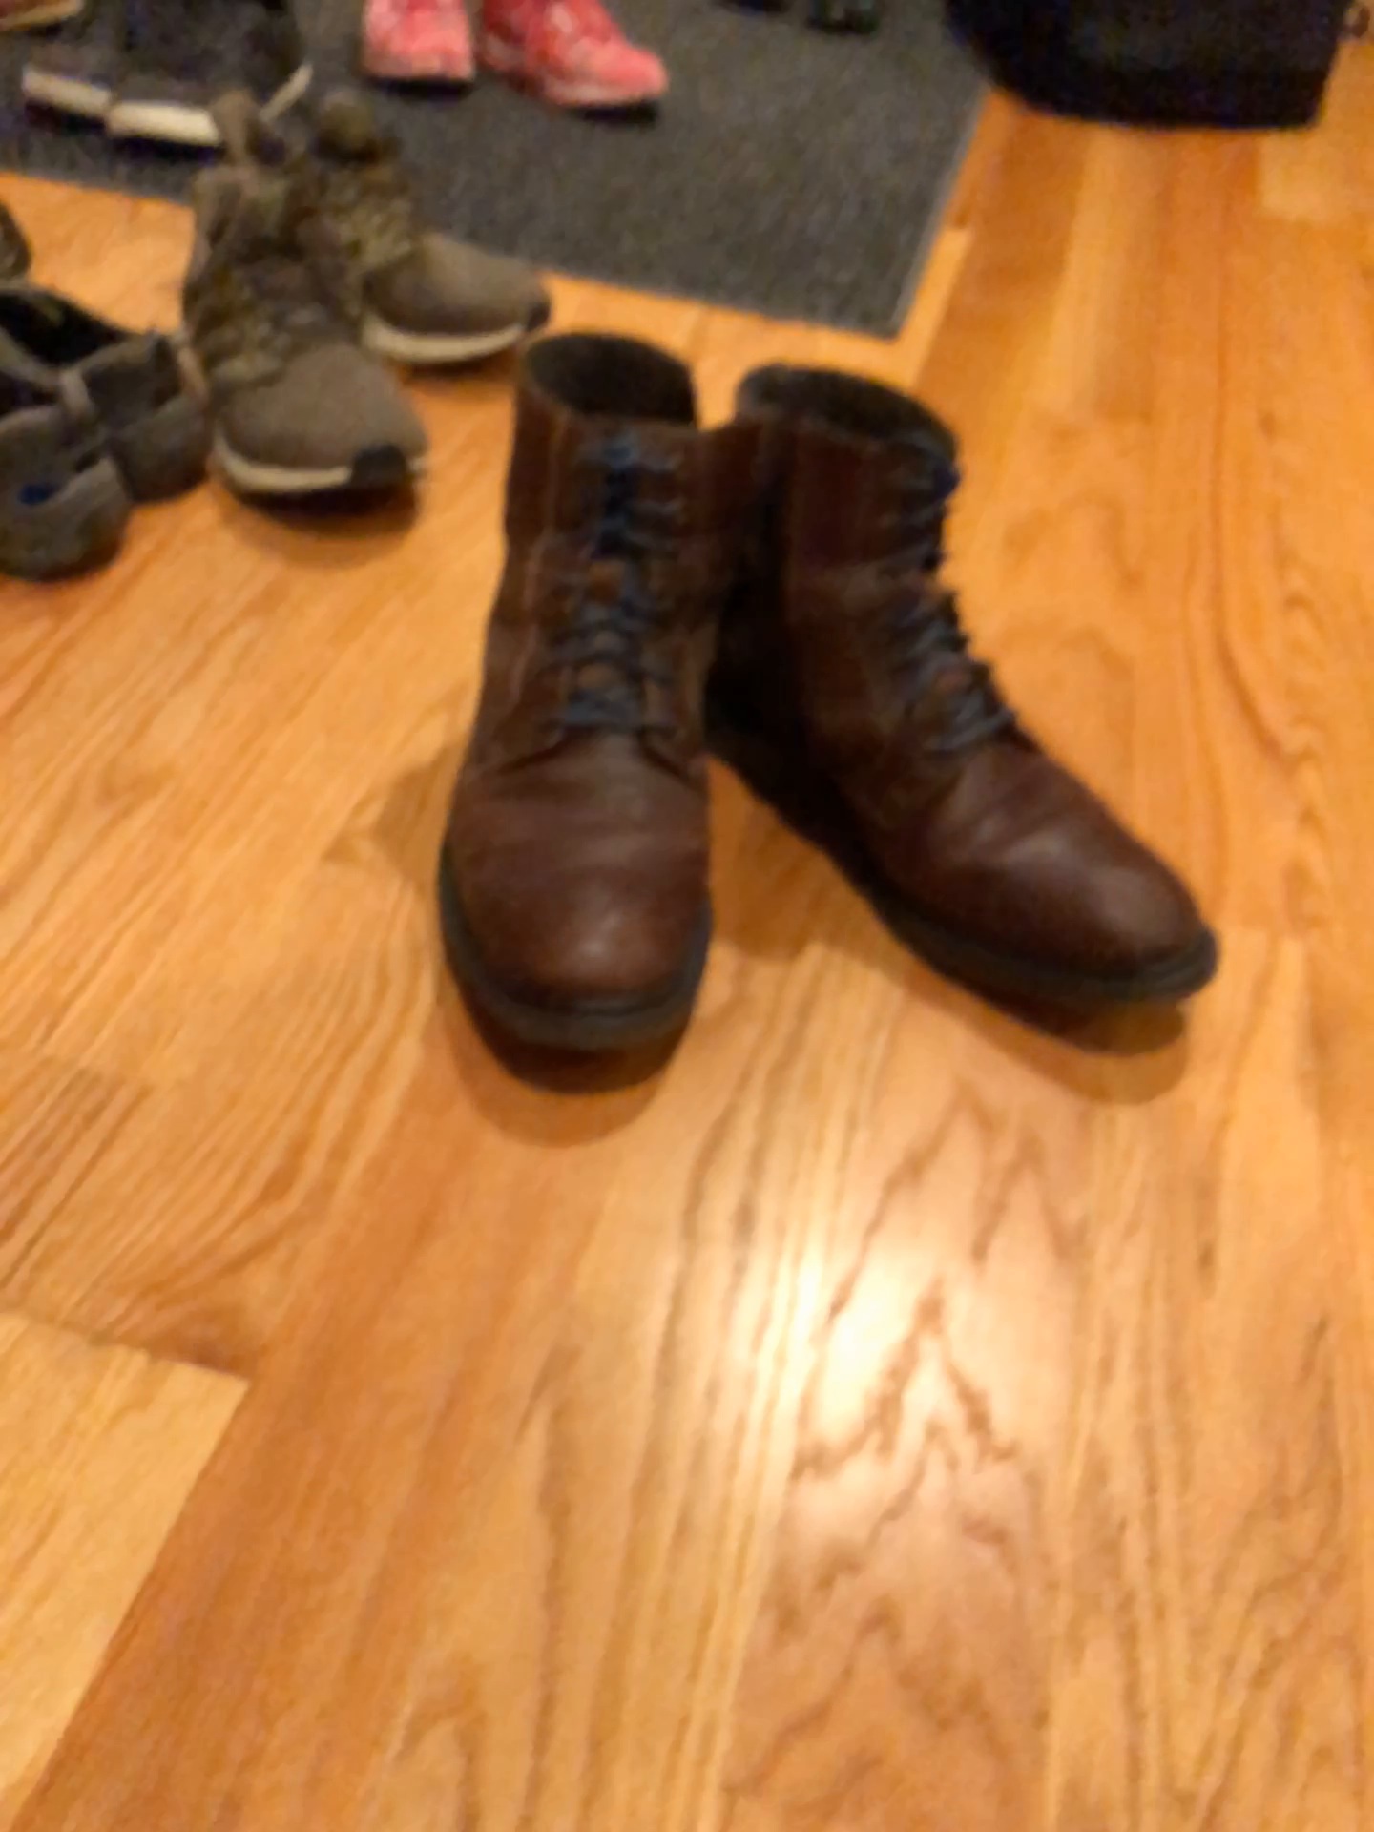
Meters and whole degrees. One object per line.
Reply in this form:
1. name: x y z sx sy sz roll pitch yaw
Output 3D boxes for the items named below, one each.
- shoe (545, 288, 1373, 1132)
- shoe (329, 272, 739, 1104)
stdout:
1. shoe: 0.087 -0.097 0.611 0.128 0.176 0.304 -27 52 -31
2. shoe: -0.056 -0.102 0.597 0.113 0.167 0.311 2 43 -5
